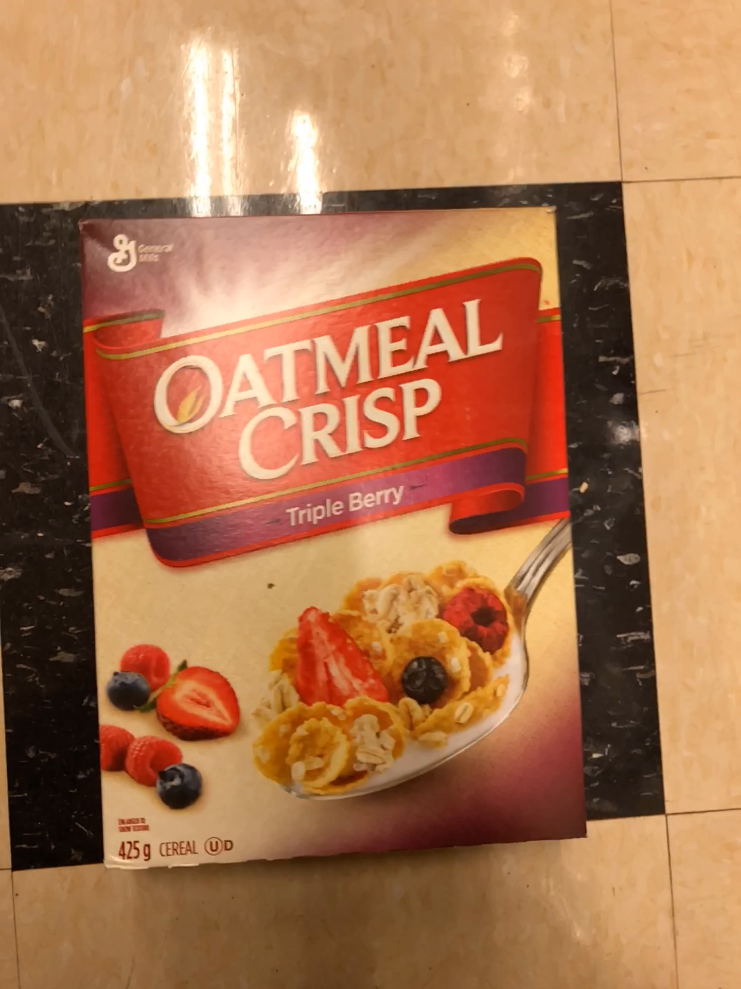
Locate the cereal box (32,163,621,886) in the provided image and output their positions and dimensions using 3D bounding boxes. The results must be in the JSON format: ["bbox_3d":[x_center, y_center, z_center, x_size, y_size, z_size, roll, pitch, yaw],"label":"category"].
[{"bbox_3d":[-0.018,0.008,0.329,0.200,0.070,0.250,-3,87,-3],"label":"cereal box"}]
